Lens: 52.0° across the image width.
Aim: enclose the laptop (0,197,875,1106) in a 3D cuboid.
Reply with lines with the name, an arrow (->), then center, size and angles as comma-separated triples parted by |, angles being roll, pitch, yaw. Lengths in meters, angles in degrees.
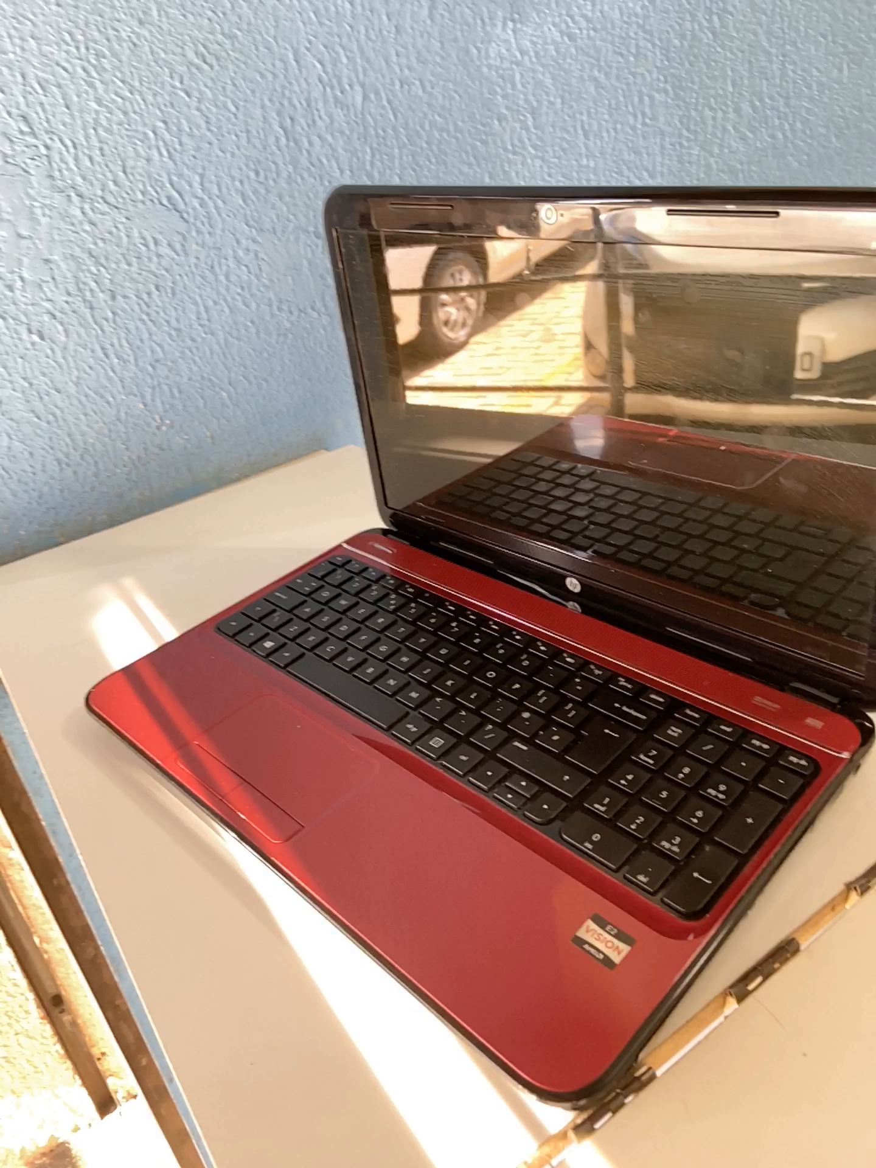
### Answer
laptop -> -0.020, -0.033, 0.412 | 0.228, 0.221, 0.357 | -31, 36, -34
